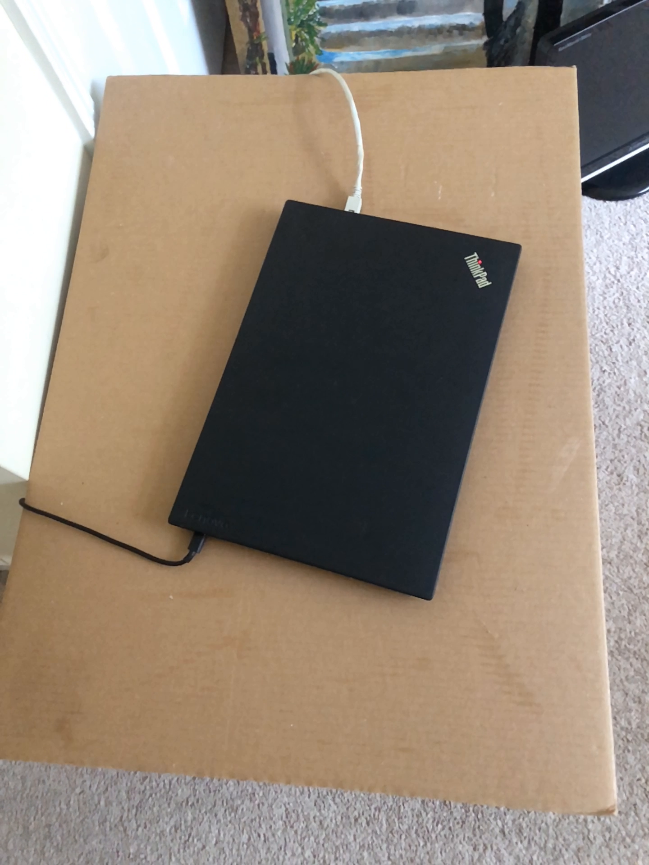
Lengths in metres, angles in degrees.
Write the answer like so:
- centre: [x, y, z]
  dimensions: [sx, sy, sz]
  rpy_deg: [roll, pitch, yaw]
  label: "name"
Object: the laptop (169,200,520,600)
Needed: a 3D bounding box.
- centre: [0.024, -0.048, 0.619]
  dimensions: [0.225, 0.002, 0.328]
  rpy_deg: [14, 72, 12]
  label: "laptop"
